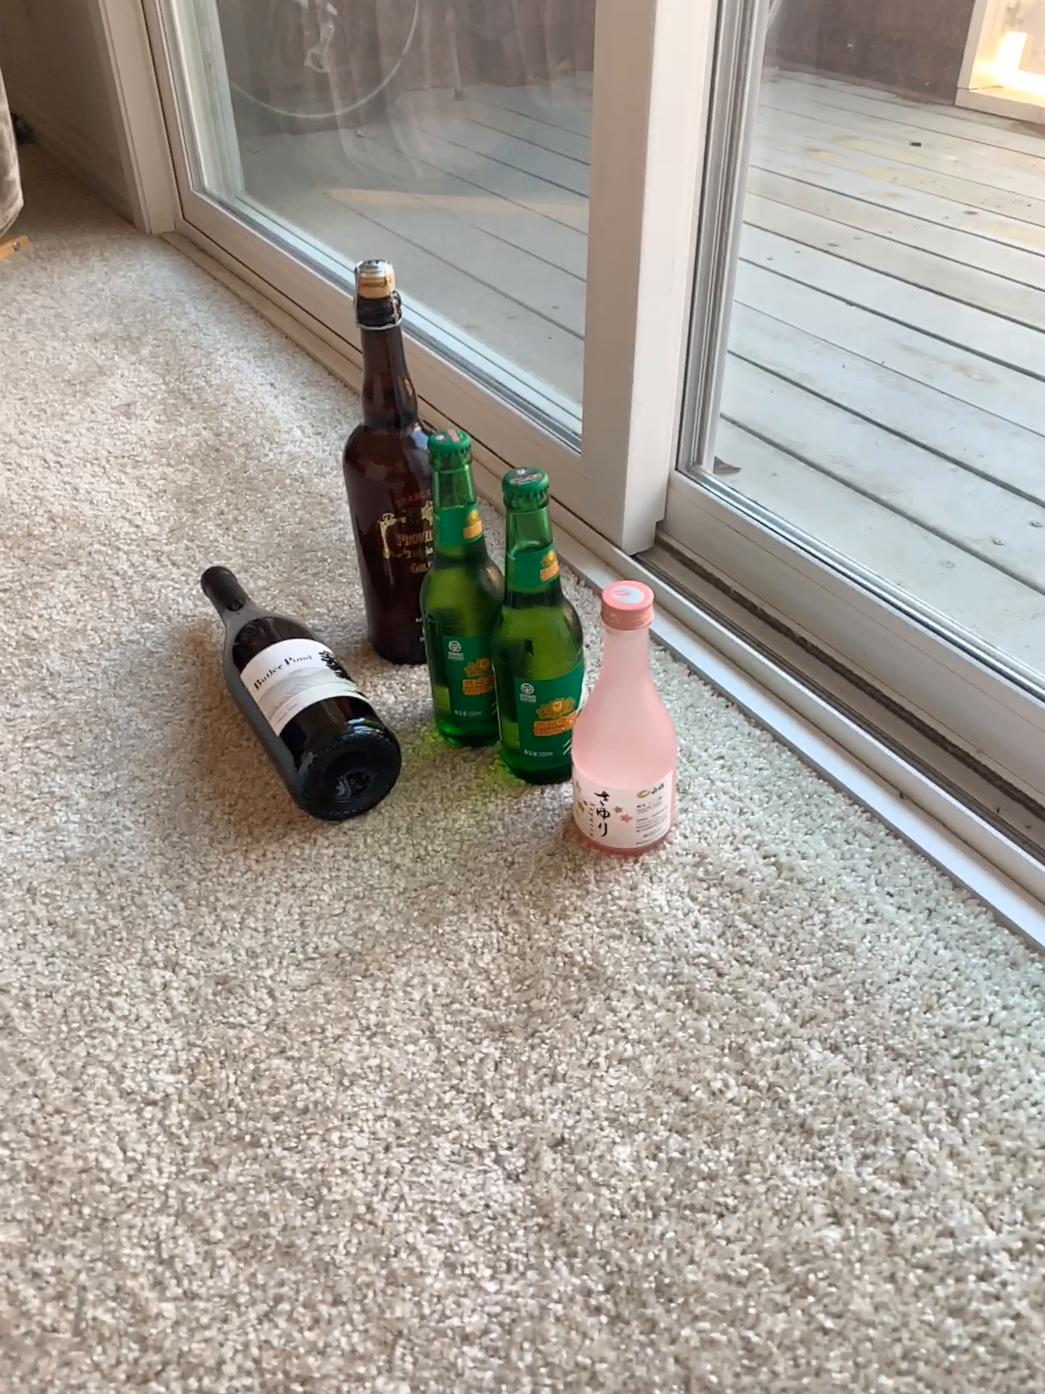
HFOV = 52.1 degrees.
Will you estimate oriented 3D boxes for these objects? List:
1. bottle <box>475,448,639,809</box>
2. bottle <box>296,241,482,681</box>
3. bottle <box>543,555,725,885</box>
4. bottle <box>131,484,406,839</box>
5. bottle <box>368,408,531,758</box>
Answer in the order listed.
[{"bbox_3d":[0.020,-0.040,0.696,0.070,0.219,0.070,0,39,0],"label":"bottle"},{"bbox_3d":[-0.089,-0.160,0.768,0.080,0.288,0.080,0,39,0],"label":"bottle"},{"bbox_3d":[0.063,0.017,0.650,0.070,0.179,0.070,0,39,0],"label":"bottle"},{"bbox_3d":[-0.182,-0.036,0.749,0.070,0.080,0.282,-23,51,-26],"label":"bottle"},{"bbox_3d":[-0.044,-0.071,0.706,0.070,0.209,0.070,0,39,0],"label":"bottle"}]
